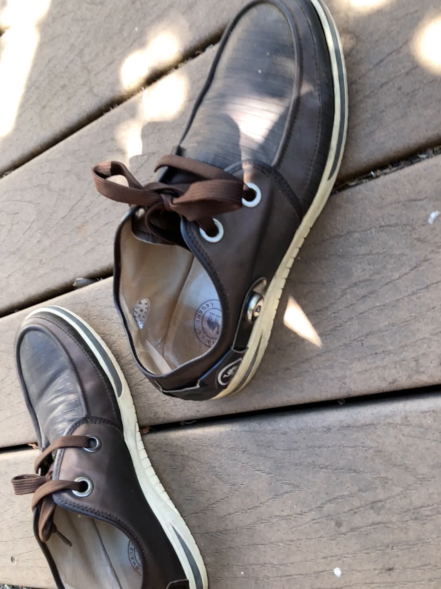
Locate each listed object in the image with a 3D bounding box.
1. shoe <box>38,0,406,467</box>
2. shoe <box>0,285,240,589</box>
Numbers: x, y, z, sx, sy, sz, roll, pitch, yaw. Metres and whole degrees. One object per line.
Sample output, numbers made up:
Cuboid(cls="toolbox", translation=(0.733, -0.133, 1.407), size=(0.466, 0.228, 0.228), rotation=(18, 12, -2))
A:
Cuboid(cls="shoe", translation=(-0.002, -0.063, 0.324), size=(0.110, 0.116, 0.303), rotation=(26, 103, 29))
Cuboid(cls="shoe", translation=(-0.126, 0.149, 0.400), size=(0.110, 0.116, 0.302), rotation=(-38, 71, 26))
